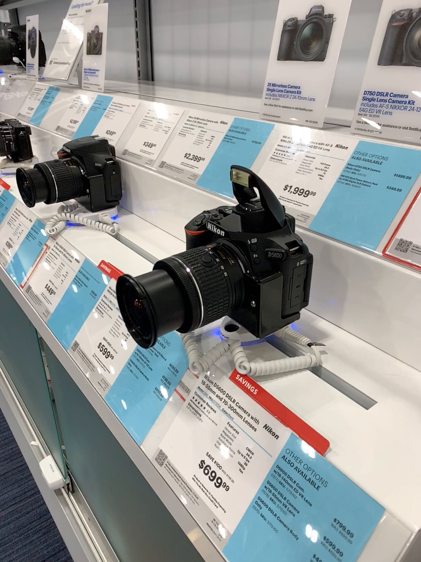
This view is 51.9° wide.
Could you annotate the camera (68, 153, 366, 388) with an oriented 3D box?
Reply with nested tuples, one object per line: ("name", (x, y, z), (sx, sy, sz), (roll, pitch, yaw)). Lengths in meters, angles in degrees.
("camera", (0.007, -0.030, 0.366), (0.190, 0.109, 0.140), (-21, 34, -36))
